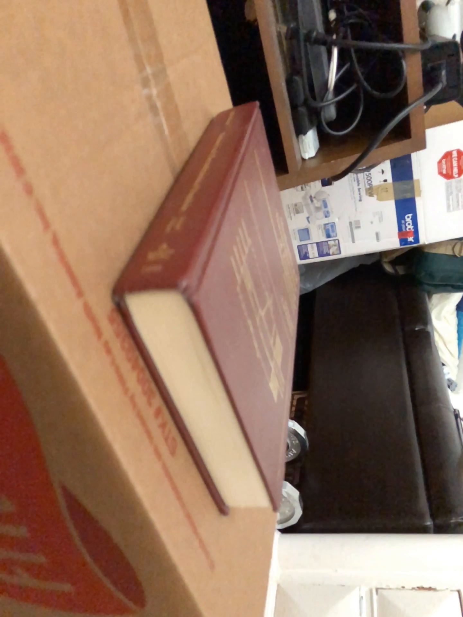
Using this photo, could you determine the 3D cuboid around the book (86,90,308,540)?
[{"bbox_3d":[0.008,-0.012,0.337,0.241,0.040,0.190,-76,152,-52],"label":"book"}]
